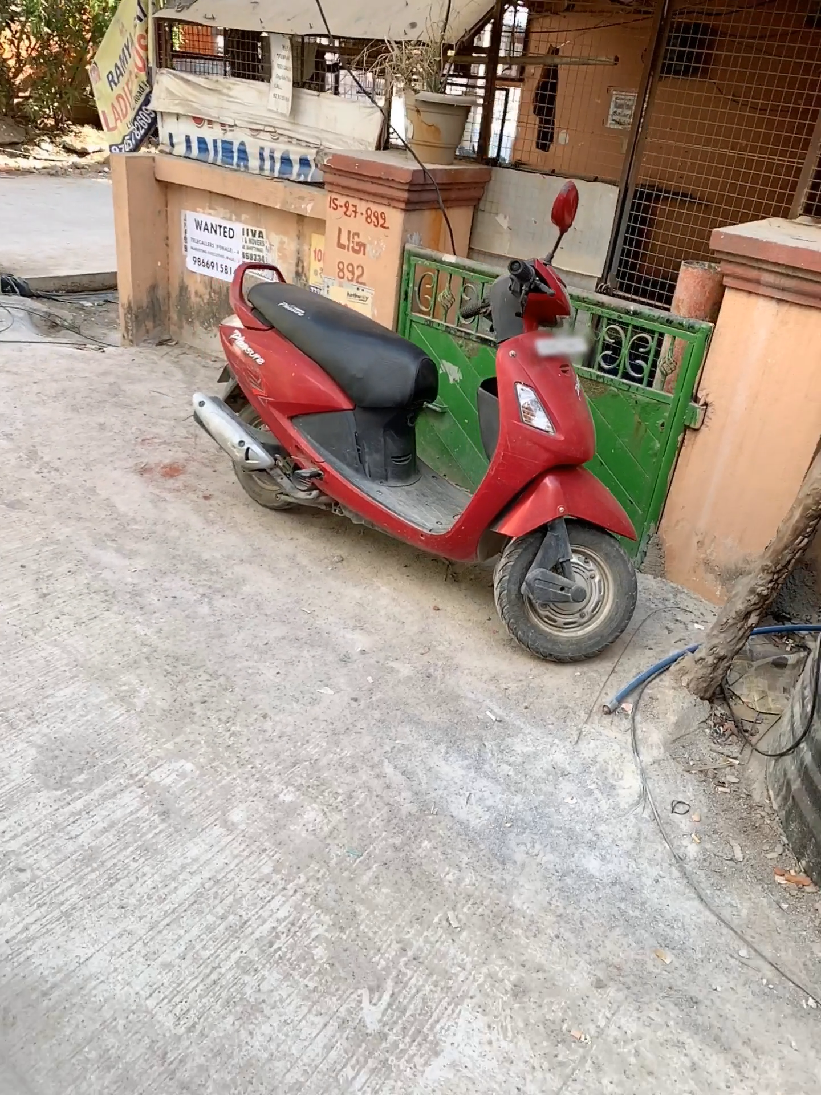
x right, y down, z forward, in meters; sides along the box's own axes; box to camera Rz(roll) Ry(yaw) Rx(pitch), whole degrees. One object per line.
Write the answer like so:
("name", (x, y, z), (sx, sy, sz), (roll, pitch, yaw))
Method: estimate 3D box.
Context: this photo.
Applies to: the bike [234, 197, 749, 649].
("bike", (0.170, -0.450, 2.552), (1.273, 0.916, 0.620), (22, 32, 25))
